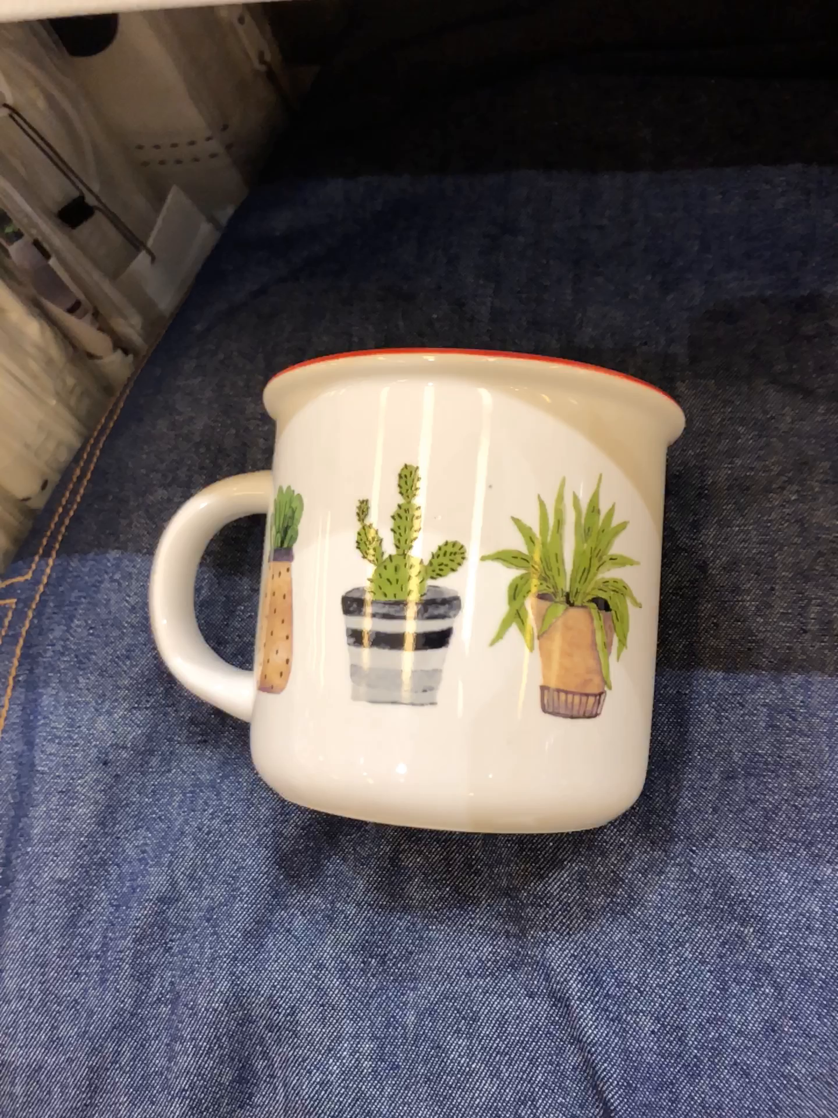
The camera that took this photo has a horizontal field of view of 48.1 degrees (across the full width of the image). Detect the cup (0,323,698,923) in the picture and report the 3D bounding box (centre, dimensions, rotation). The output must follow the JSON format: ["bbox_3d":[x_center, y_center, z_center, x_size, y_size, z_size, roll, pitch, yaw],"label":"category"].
[{"bbox_3d":[-0.012,0.014,0.216,0.140,0.090,0.100,2,79,15],"label":"cup"}]
